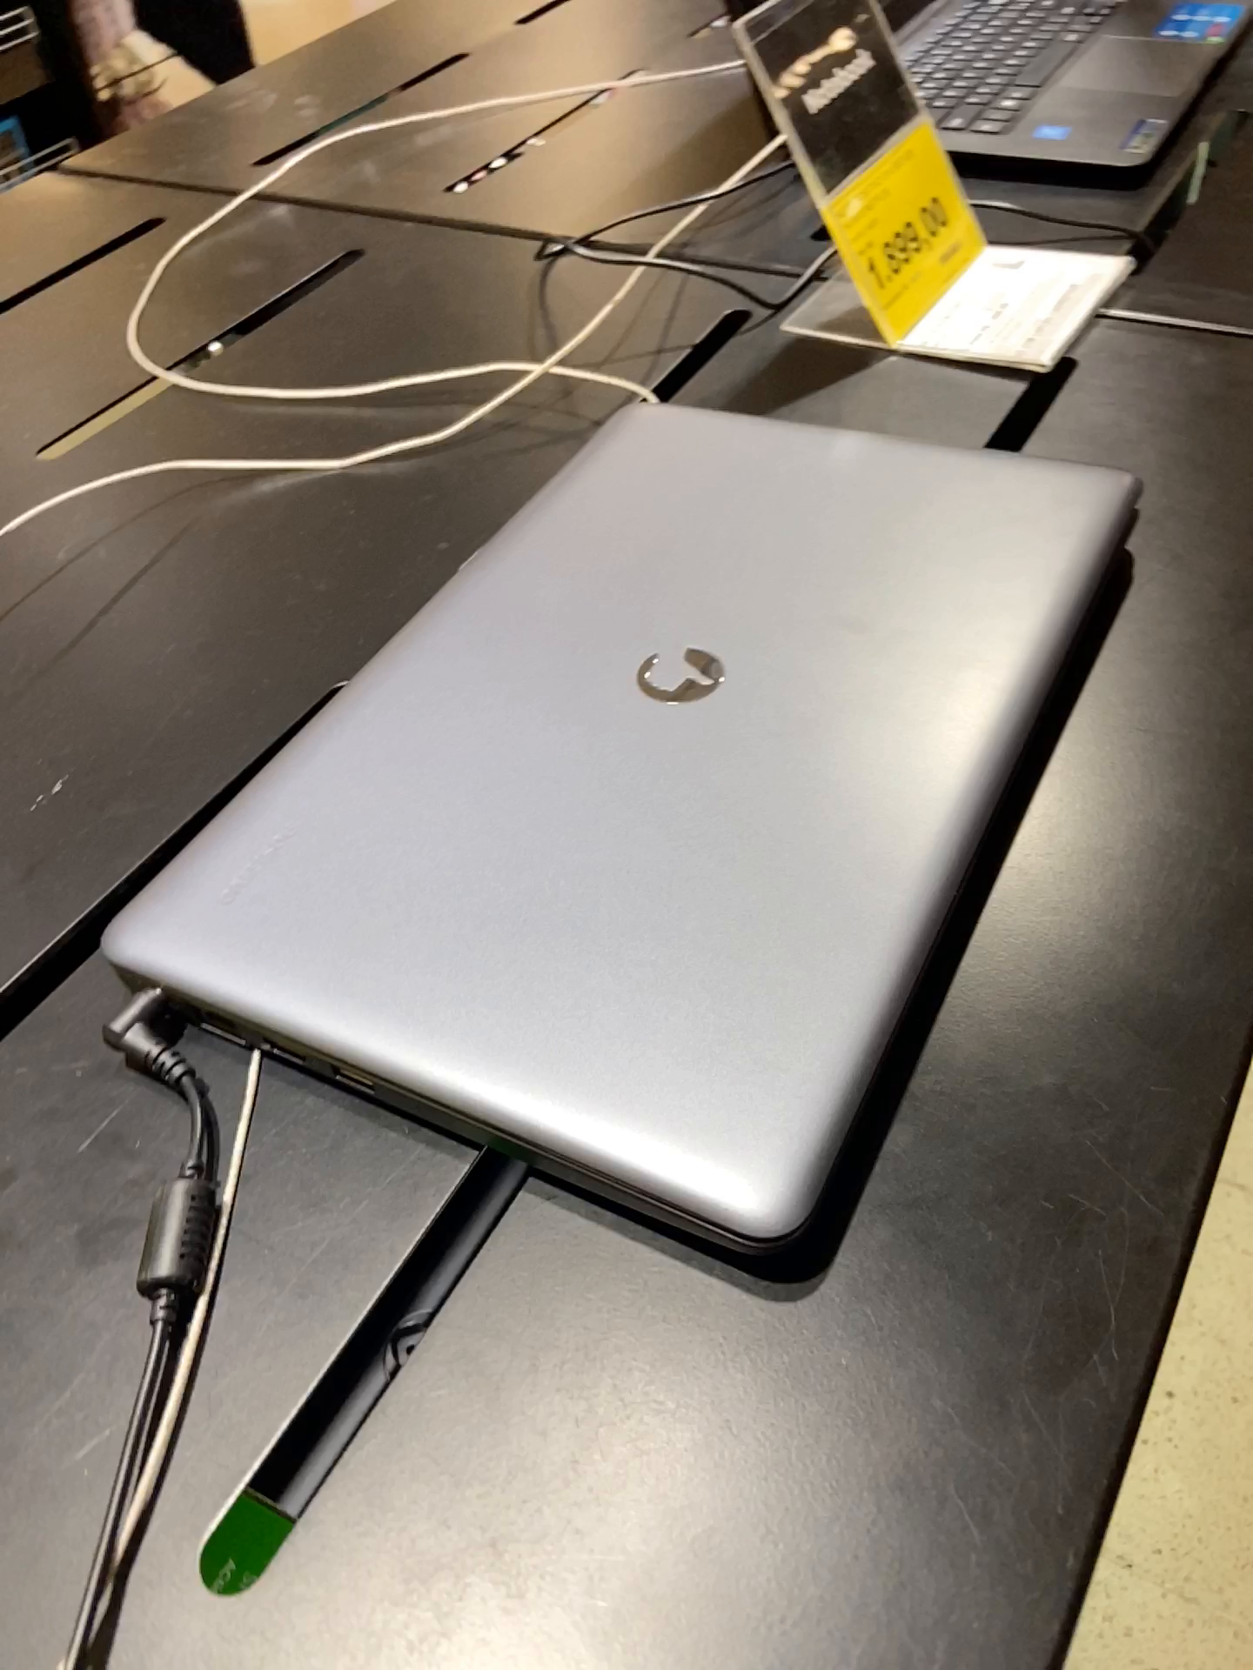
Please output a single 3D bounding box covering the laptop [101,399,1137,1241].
[{"bbox_3d":[0.019,-0.050,0.425,0.213,0.001,0.331,17,51,24],"label":"laptop"}]
